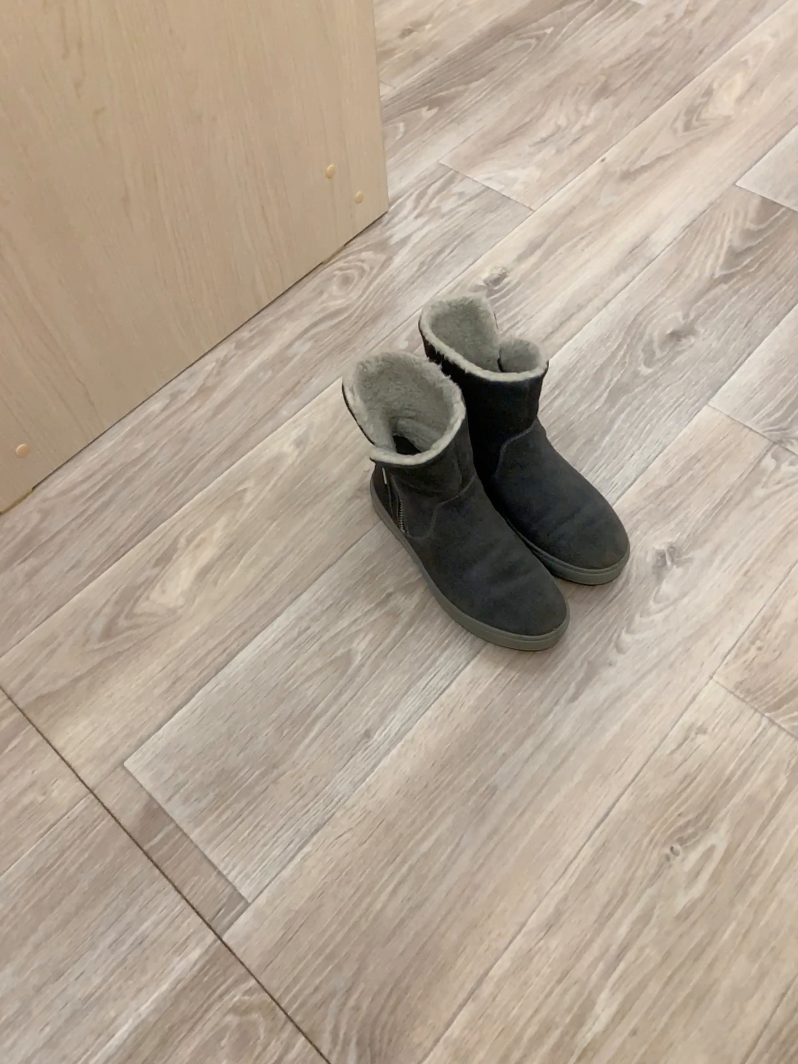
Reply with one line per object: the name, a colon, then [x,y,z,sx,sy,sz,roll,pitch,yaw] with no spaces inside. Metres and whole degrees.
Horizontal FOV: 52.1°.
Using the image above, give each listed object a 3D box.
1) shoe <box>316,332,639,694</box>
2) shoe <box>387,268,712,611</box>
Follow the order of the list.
shoe: [0.059,-0.016,0.729,0.100,0.179,0.271,-36,63,-17]
shoe: [0.121,-0.085,0.748,0.100,0.169,0.271,-38,63,-18]
